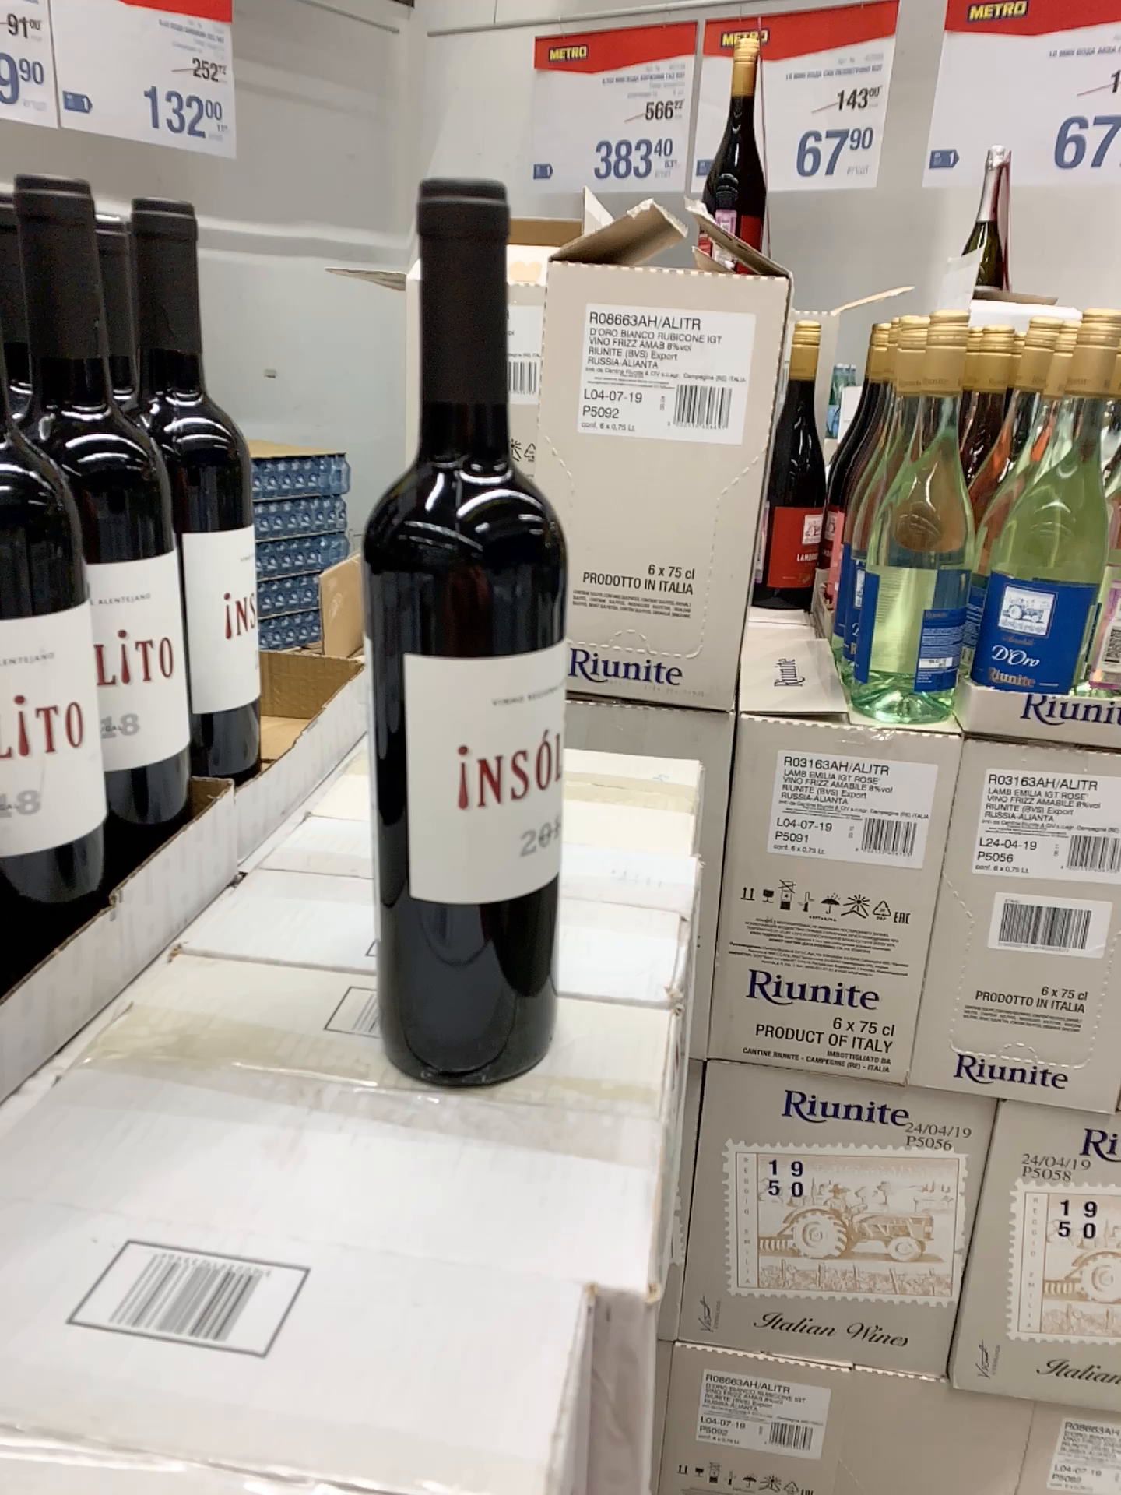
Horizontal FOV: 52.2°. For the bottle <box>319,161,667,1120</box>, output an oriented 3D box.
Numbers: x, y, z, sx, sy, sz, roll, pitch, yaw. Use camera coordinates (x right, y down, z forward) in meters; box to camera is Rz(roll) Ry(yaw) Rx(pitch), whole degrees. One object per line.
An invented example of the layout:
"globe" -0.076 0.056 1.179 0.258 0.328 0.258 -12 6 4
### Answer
"bottle" -0.029 -0.032 0.413 0.080 0.310 0.077 3 18 -1
